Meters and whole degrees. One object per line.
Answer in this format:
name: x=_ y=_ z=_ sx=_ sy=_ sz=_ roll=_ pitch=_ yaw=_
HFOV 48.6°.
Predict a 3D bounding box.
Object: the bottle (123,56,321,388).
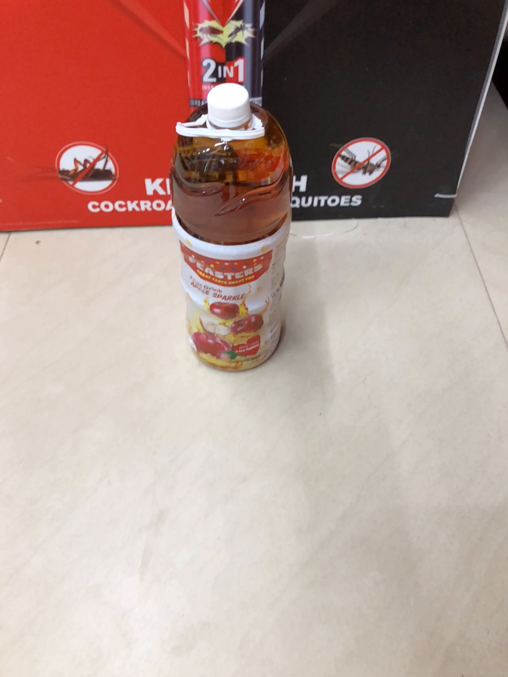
bottle: x=-0.020 y=-0.083 z=0.503 sx=0.120 sy=0.278 sz=0.101 roll=9 pitch=52 yaw=6
